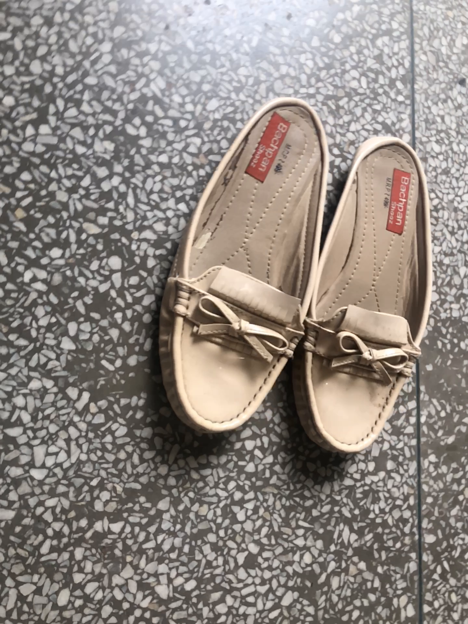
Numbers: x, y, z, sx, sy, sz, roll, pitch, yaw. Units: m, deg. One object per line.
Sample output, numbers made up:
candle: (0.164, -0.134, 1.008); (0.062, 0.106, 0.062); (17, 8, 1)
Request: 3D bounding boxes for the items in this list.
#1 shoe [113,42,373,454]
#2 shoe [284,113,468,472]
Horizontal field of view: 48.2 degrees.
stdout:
shoe: (0.008, -0.037, 0.320); (0.090, 0.040, 0.220); (20, 82, -18)
shoe: (0.100, -0.011, 0.344); (0.080, 0.040, 0.210); (16, 83, -19)
